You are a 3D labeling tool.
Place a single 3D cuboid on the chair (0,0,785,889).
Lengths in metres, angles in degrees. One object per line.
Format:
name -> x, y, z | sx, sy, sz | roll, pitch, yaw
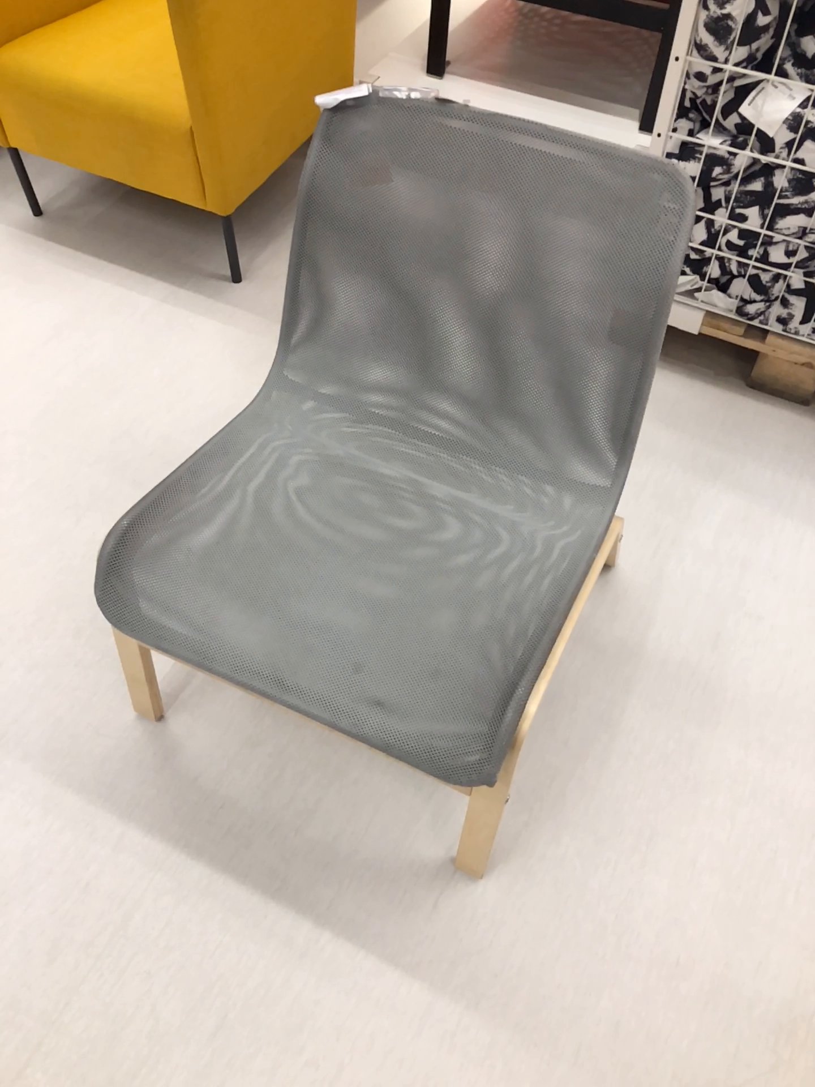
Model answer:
chair -> -0.030, -0.108, 1.173 | 0.631, 0.825, 0.643 | 22, 56, 15
